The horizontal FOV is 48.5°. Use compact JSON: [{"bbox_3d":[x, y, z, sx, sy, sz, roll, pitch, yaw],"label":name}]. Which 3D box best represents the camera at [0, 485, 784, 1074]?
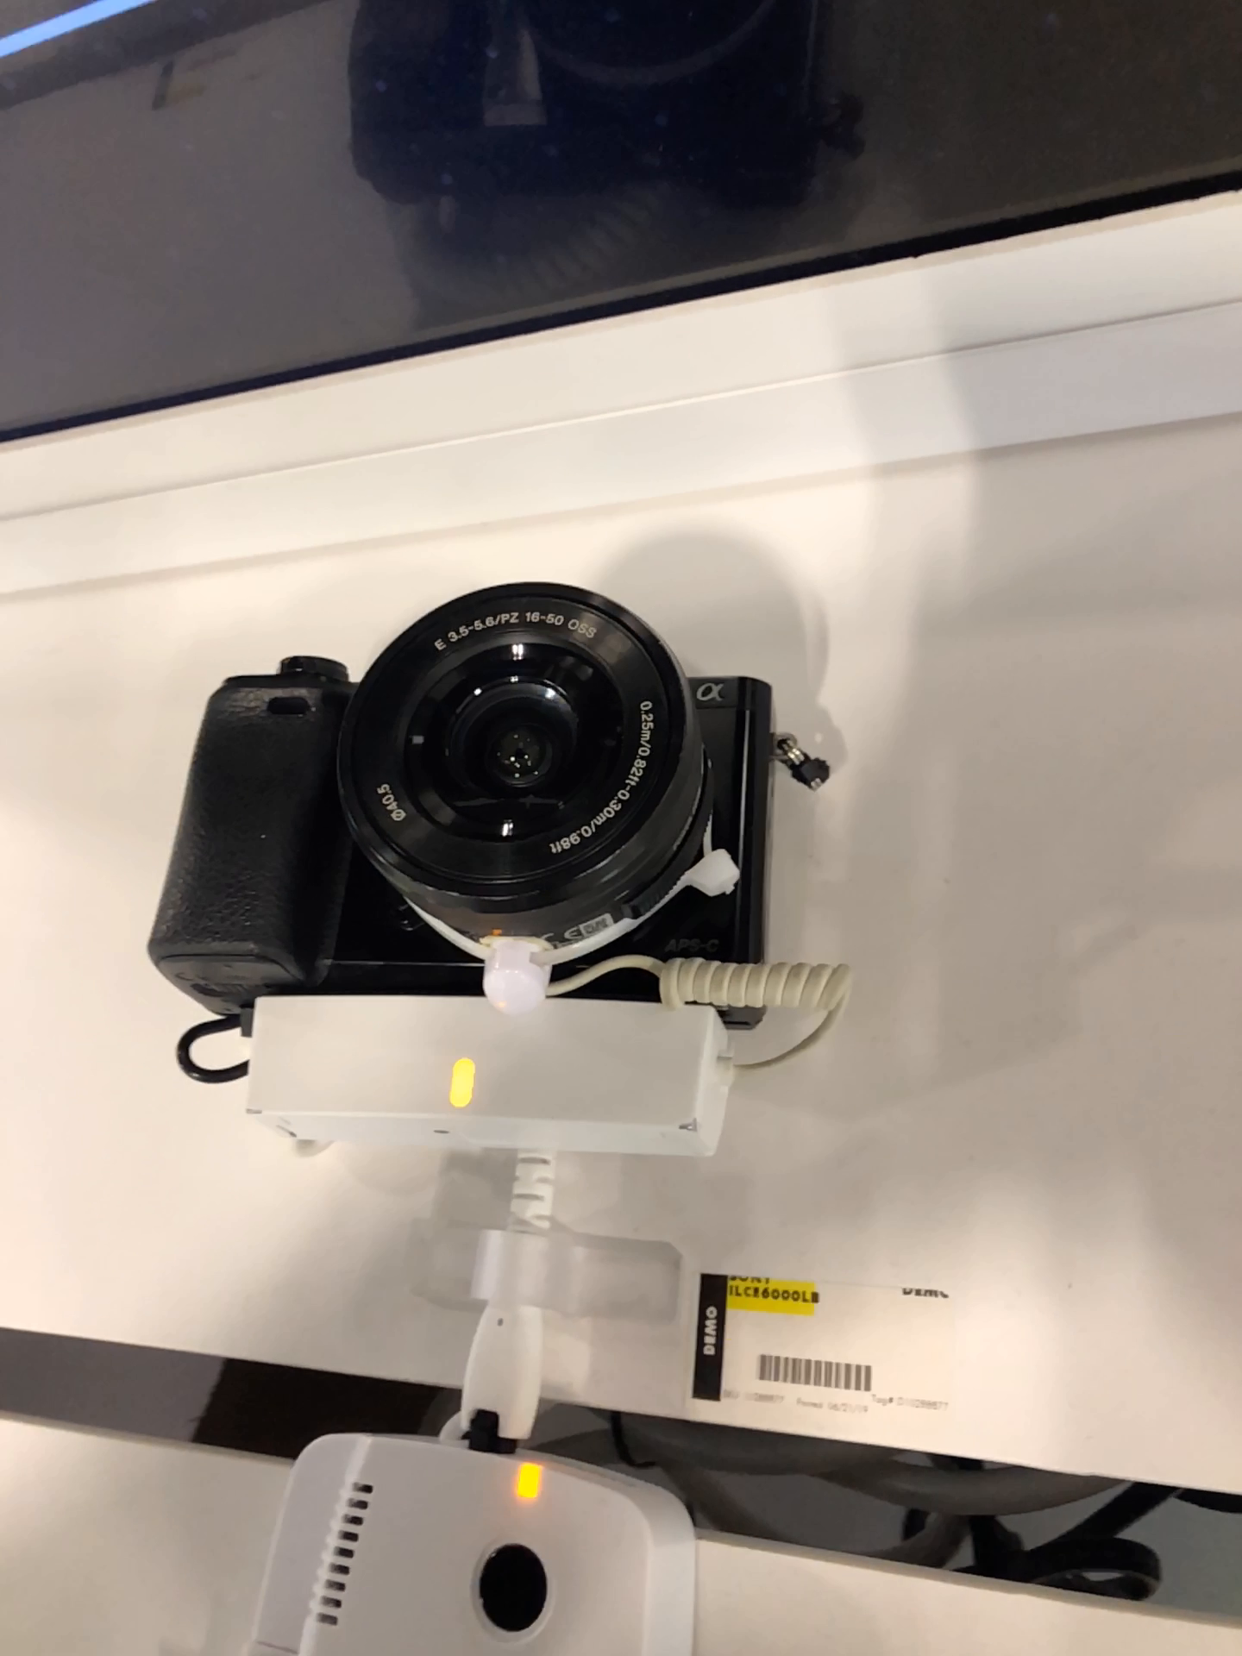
[{"bbox_3d":[-0.039,-0.006,0.276,0.130,0.070,0.090,0,68,15],"label":"camera"}]
